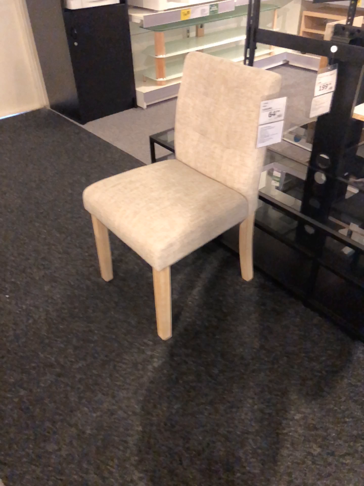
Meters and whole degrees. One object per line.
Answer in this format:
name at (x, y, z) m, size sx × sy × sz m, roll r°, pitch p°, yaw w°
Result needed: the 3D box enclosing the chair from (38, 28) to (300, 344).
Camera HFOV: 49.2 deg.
chair at (-0.044, -0.225, 1.449) m, size 0.562 × 0.855 × 0.551 m, roll -27°, pitch 45°, yaw -29°
